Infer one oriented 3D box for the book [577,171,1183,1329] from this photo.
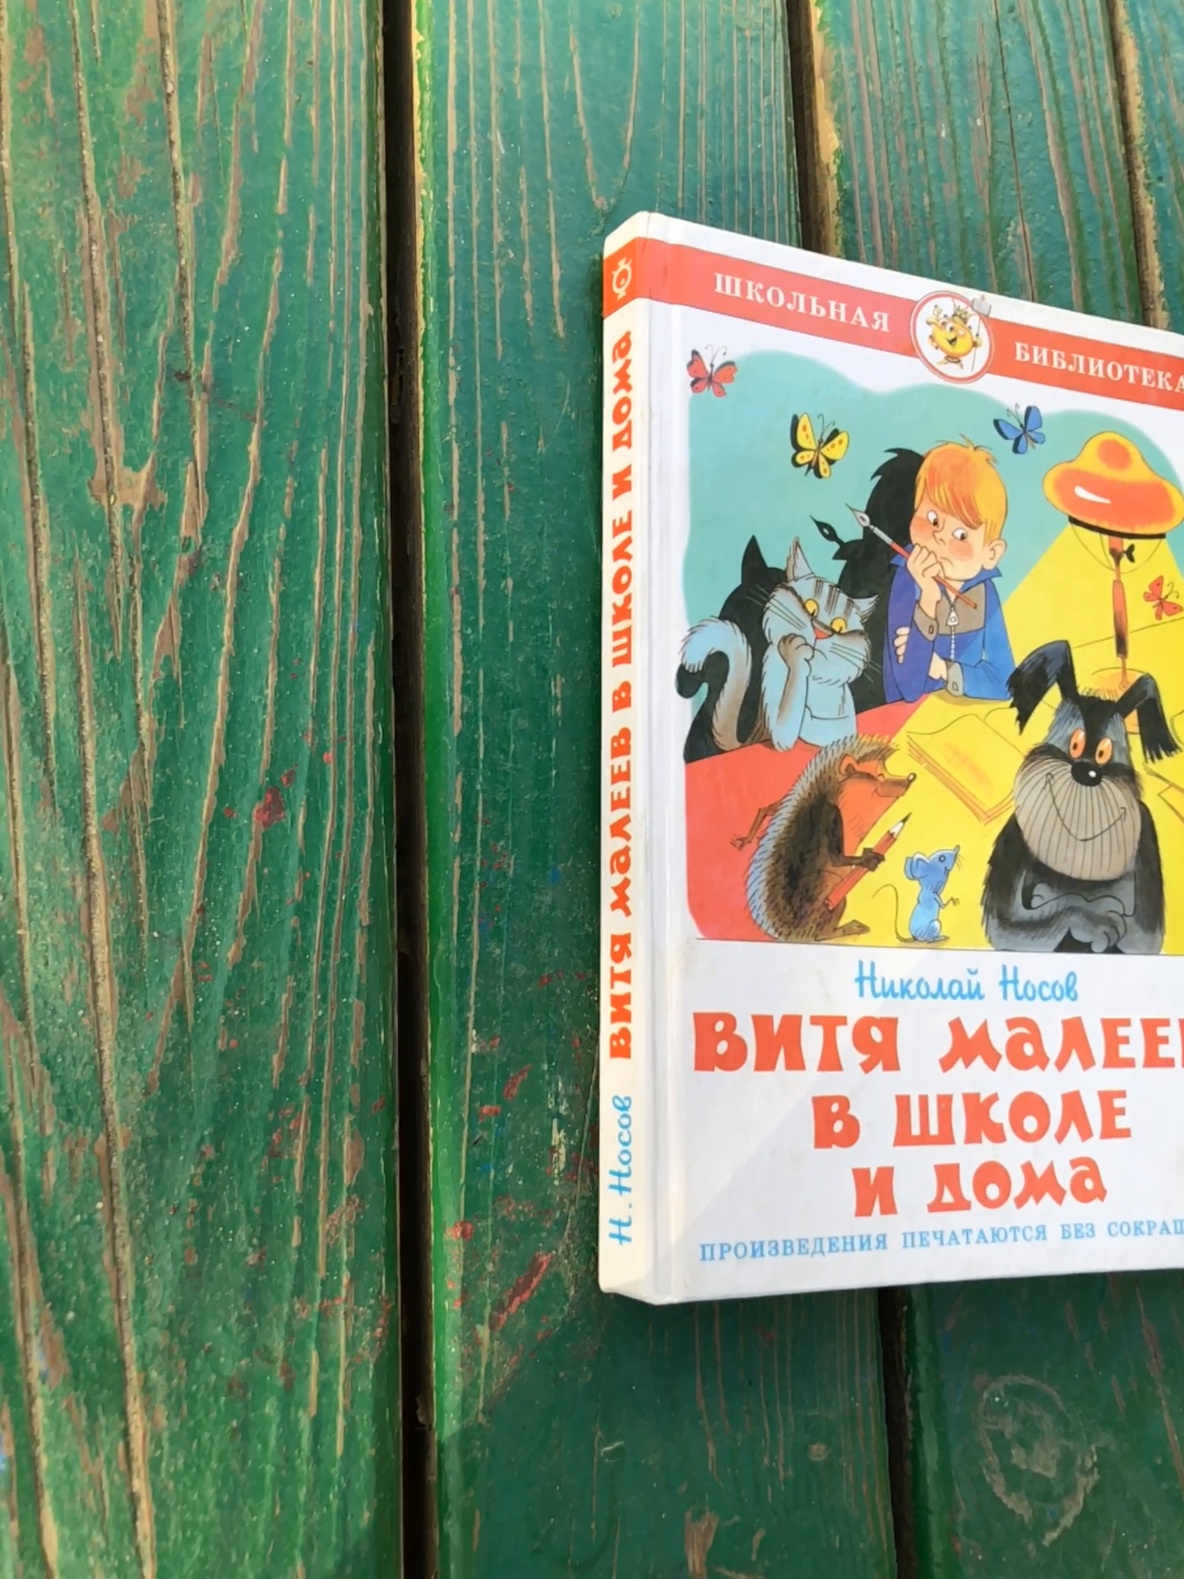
[{"bbox_3d":[0.070,-0.009,0.268,0.145,0.020,0.212,5,78,-20],"label":"book"}]
